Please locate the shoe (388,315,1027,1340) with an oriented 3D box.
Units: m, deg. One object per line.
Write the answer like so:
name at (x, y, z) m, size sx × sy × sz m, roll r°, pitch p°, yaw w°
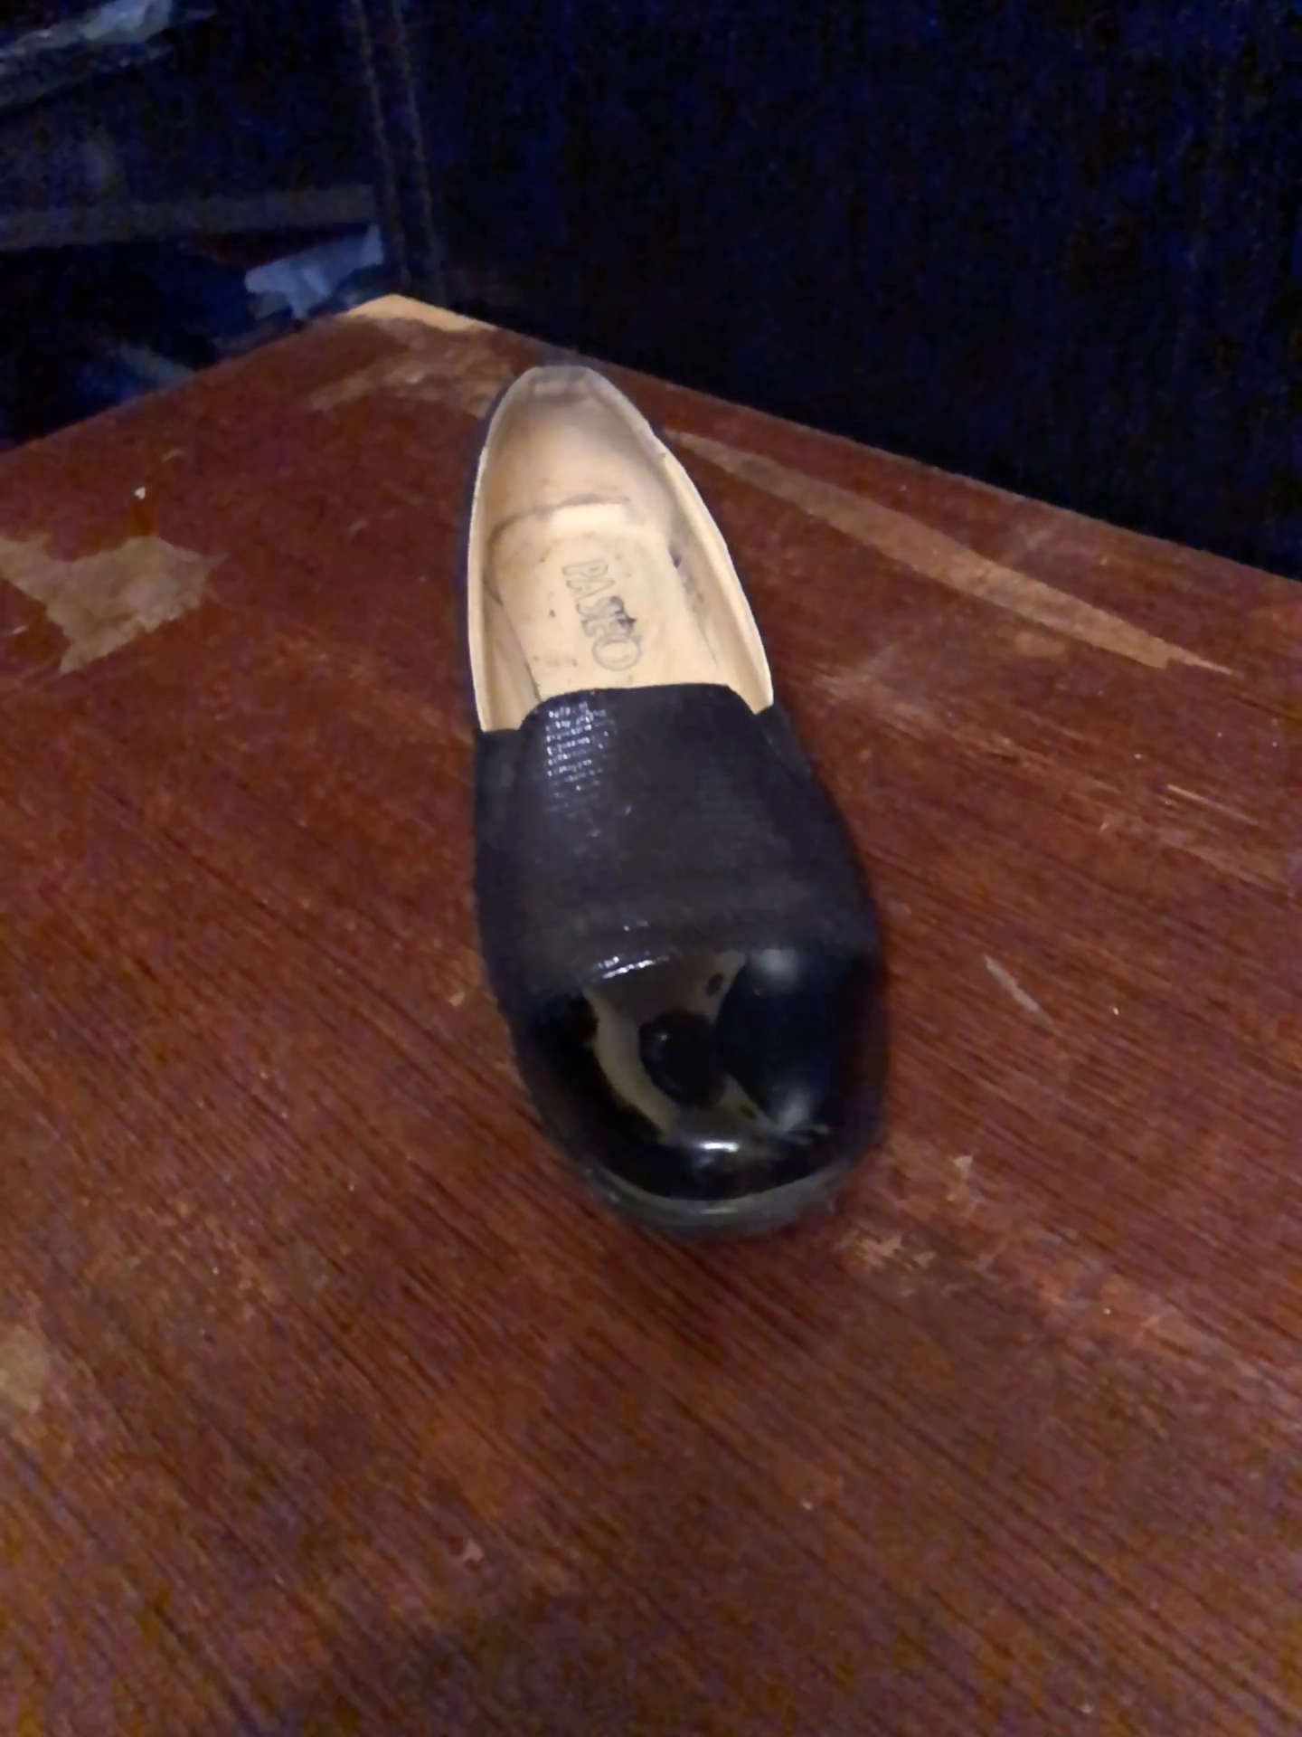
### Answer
shoe at (-0.005, -0.032, 0.320) m, size 0.089 × 0.090 × 0.236 m, roll -8°, pitch 40°, yaw -4°
